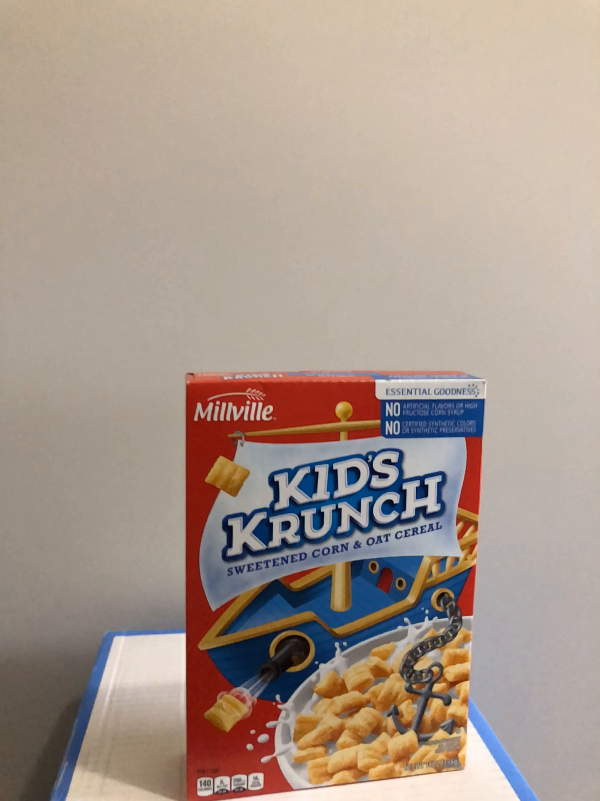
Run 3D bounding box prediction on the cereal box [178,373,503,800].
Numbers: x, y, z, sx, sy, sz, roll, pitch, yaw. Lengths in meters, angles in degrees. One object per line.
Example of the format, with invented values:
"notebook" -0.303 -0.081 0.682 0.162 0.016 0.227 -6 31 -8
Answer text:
"cereal box" 0.024 0.119 0.462 0.210 0.270 0.060 -1 7 -11
